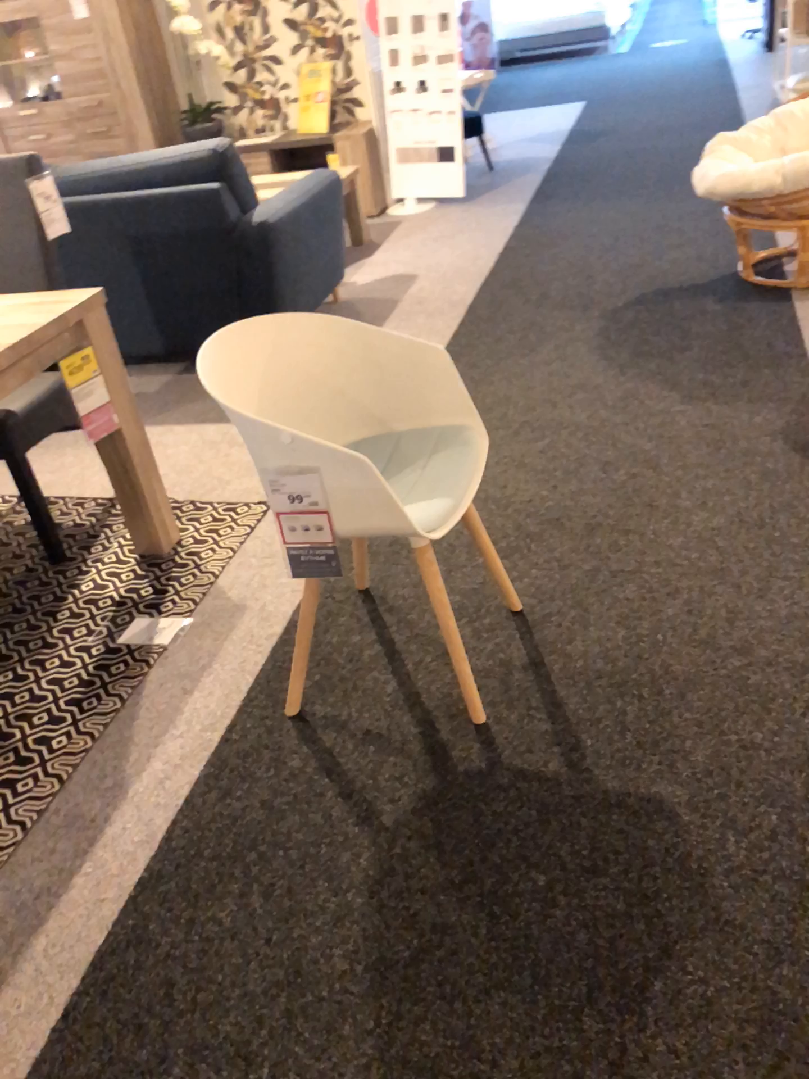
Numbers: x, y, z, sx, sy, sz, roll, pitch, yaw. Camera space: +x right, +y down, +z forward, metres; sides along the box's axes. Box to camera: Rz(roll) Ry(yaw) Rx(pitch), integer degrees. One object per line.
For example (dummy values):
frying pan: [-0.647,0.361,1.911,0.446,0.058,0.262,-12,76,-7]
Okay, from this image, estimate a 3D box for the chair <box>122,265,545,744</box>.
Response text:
chair: [-0.071,-0.089,1.841,0.579,0.766,0.554,3,34,20]
